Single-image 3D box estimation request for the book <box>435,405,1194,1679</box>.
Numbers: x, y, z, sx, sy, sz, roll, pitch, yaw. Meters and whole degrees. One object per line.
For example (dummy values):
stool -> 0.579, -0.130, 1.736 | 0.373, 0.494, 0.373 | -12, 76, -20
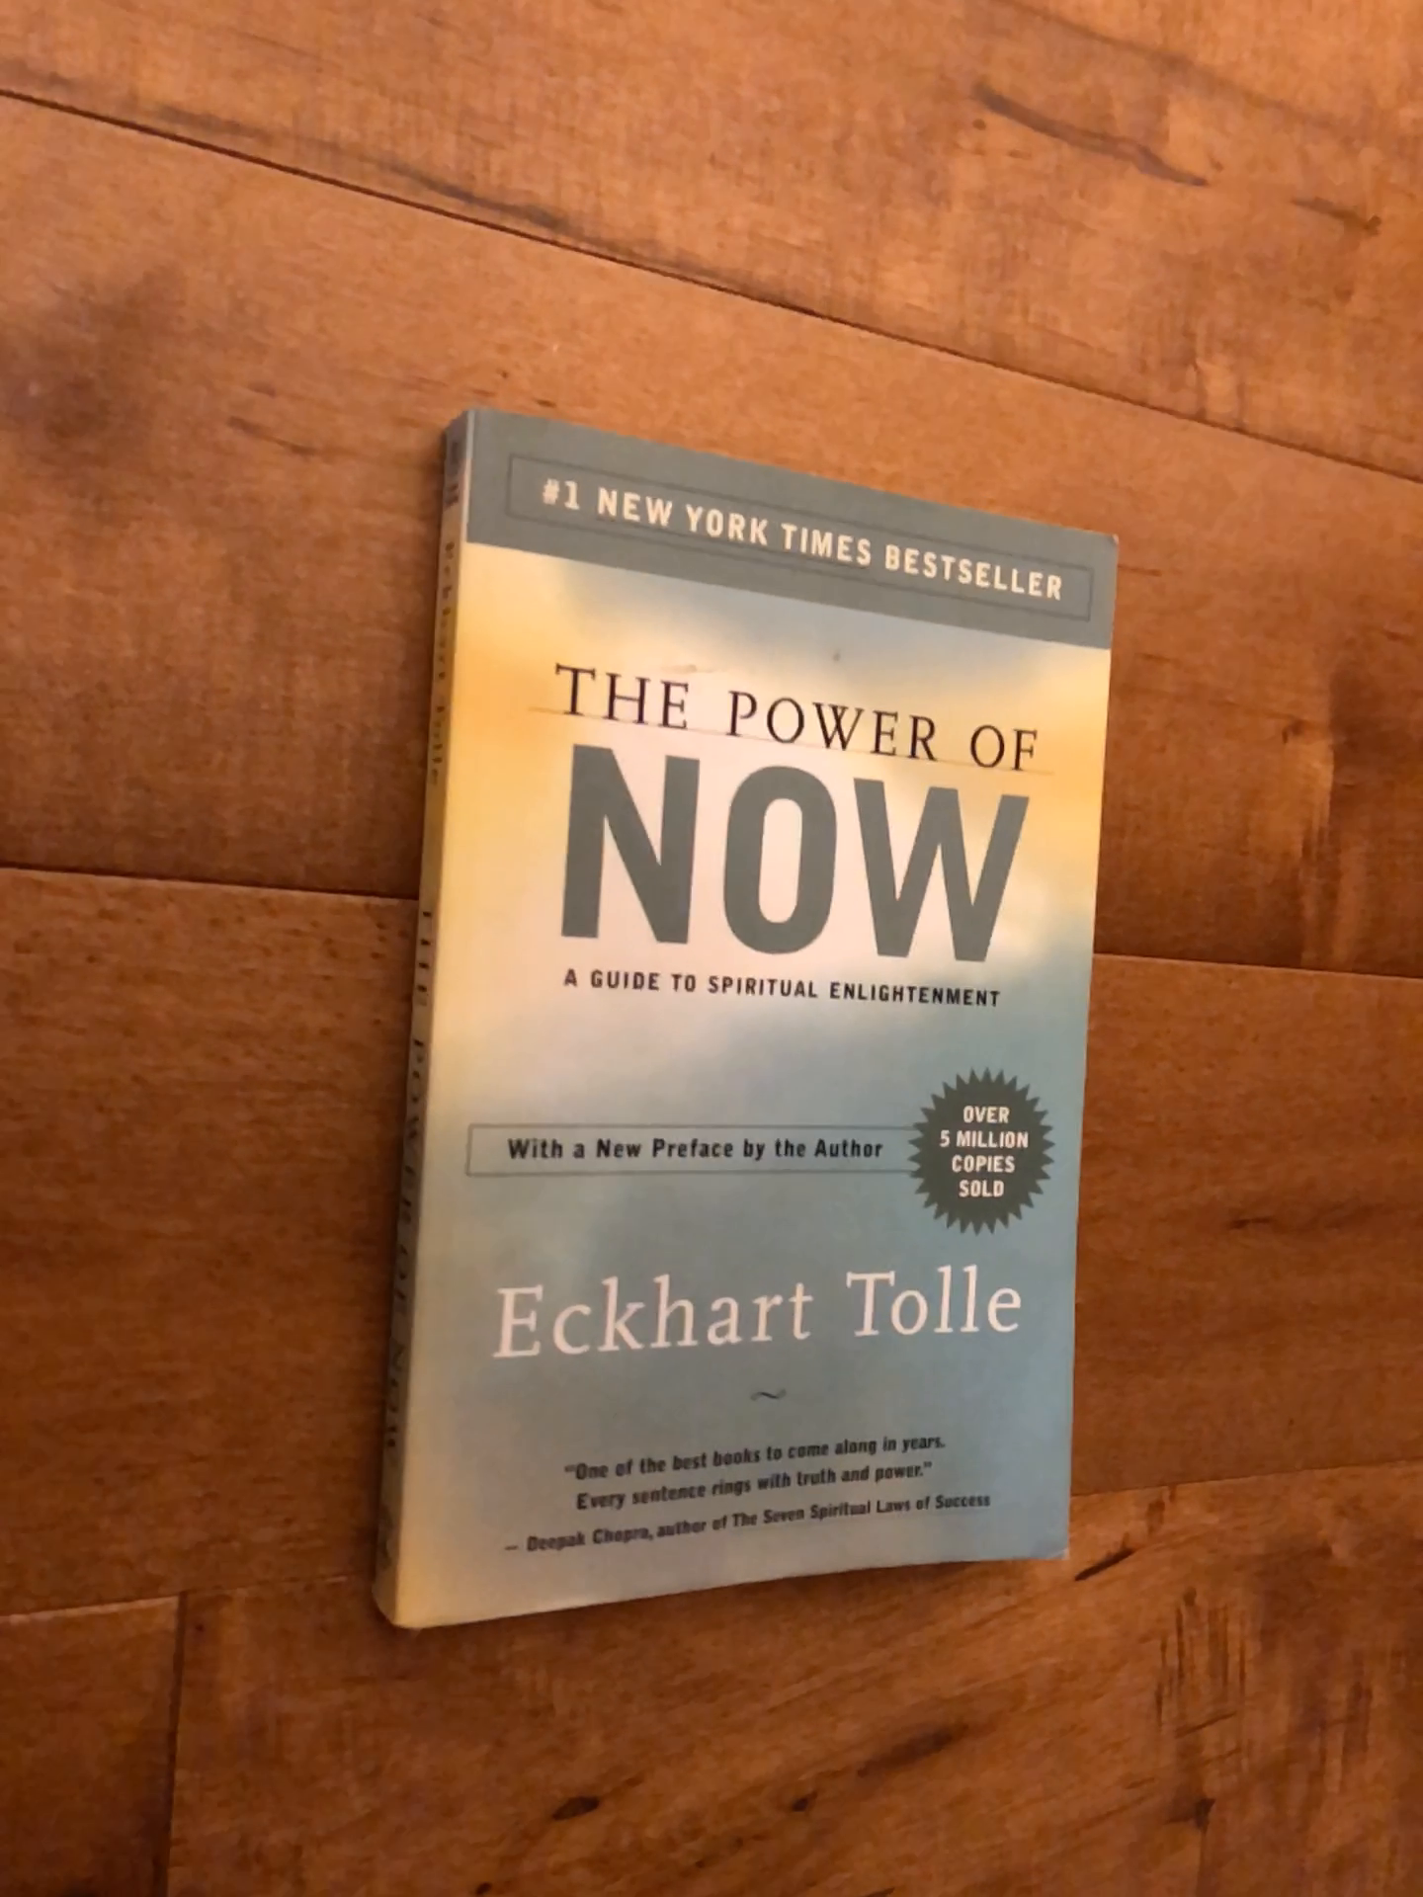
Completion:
book -> 0.025, 0.019, 0.318 | 0.146, 0.030, 0.222 | 3, 90, -26
